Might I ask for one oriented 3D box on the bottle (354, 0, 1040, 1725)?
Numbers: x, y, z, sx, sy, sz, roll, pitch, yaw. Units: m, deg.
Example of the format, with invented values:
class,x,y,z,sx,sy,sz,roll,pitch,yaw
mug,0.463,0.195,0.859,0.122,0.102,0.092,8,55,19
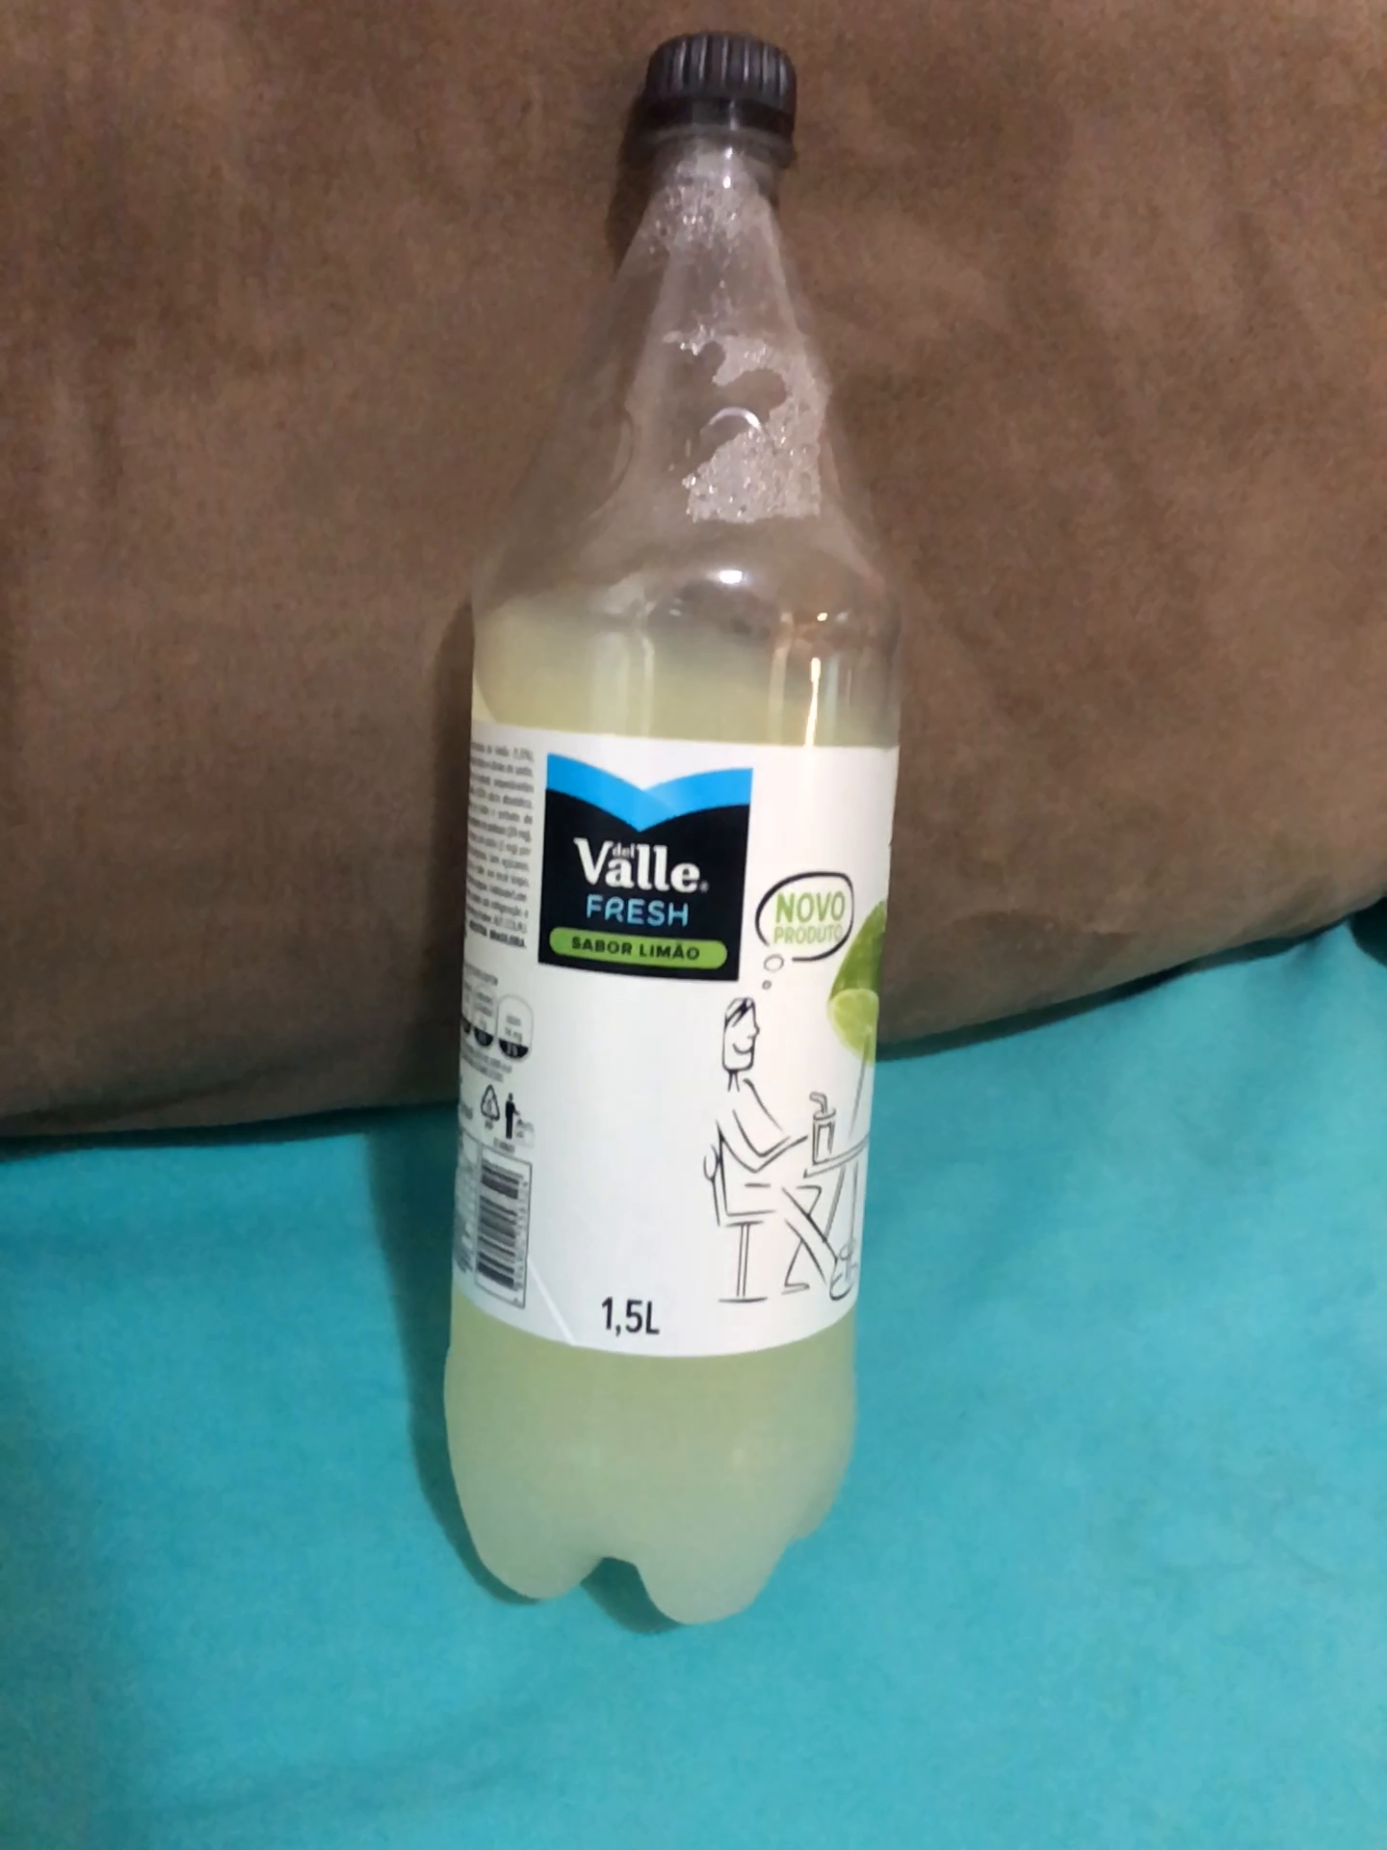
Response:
class,x,y,z,sx,sy,sz,roll,pitch,yaw
bottle,-0.004,-0.028,0.333,0.100,0.330,0.100,-2,1,0
